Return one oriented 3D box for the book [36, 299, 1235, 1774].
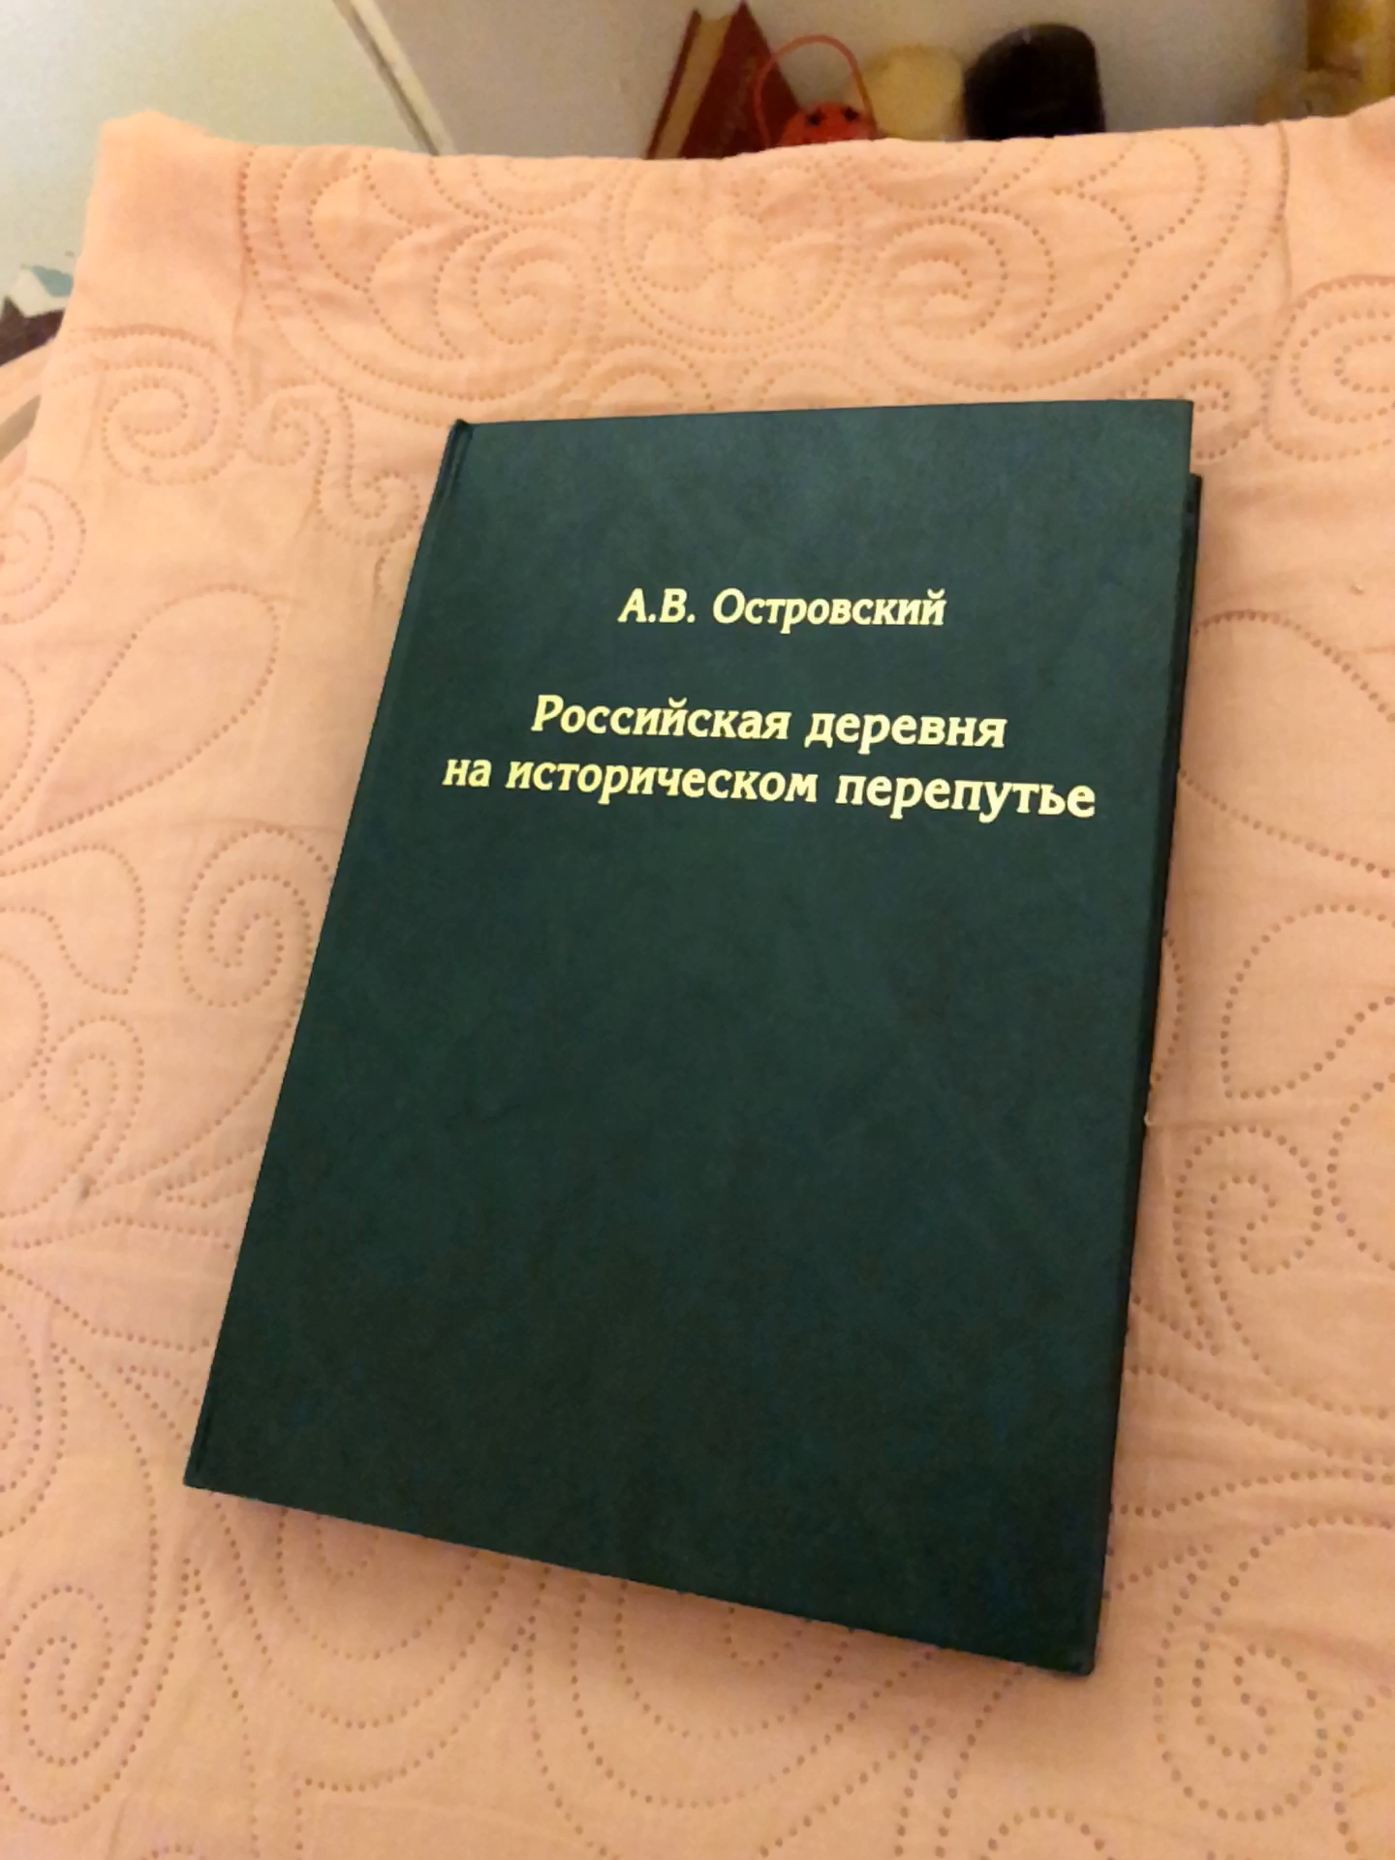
[{"bbox_3d":[-0.002,0.000,0.289,0.180,0.040,0.241,4,71,19],"label":"book"}]
